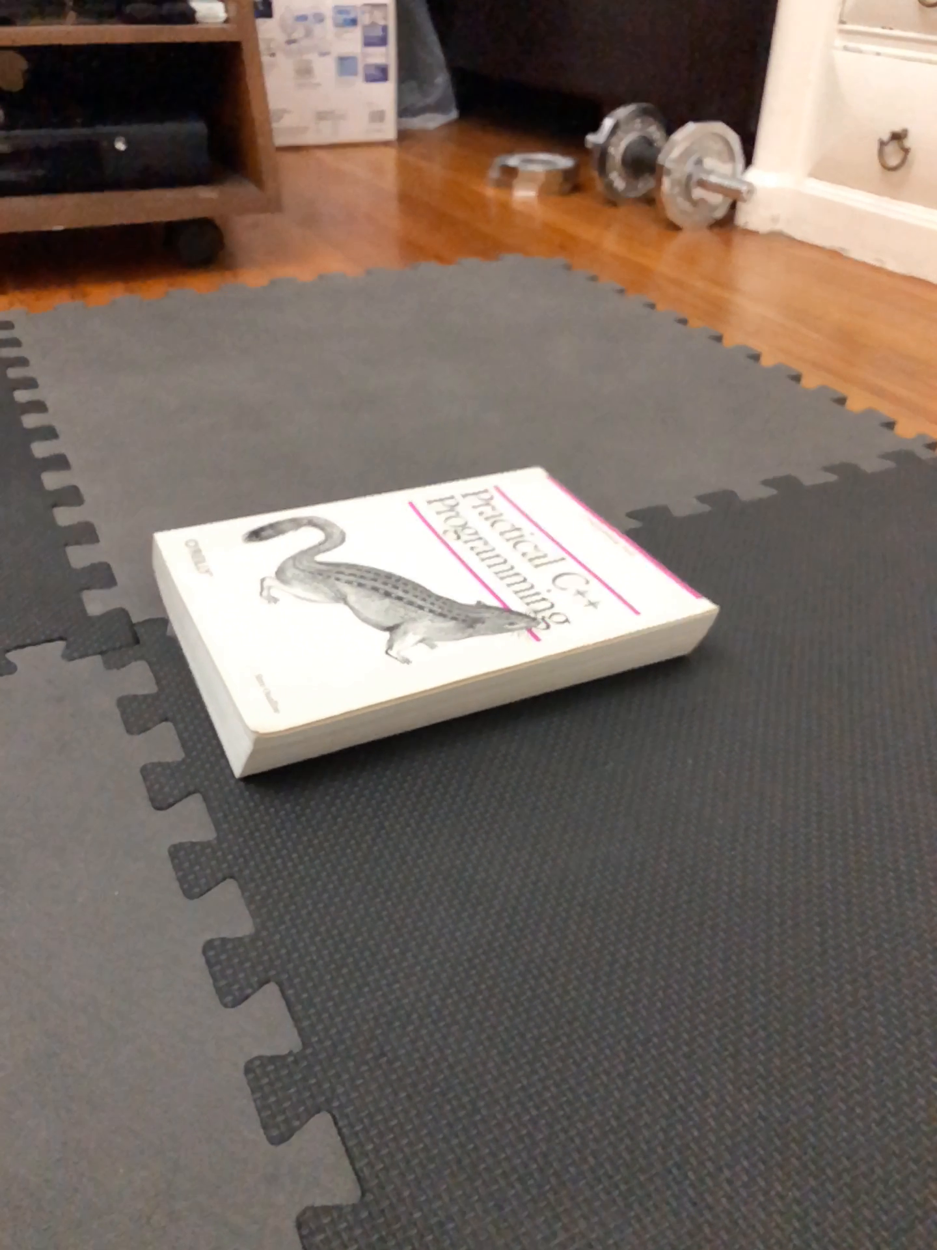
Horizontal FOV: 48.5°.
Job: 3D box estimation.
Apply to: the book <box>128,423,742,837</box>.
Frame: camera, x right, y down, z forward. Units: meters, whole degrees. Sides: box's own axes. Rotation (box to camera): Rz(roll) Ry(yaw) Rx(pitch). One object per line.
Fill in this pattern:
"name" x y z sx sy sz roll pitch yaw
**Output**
"book" -0.025 -0.017 0.541 0.250 0.050 0.201 -14 42 -22
